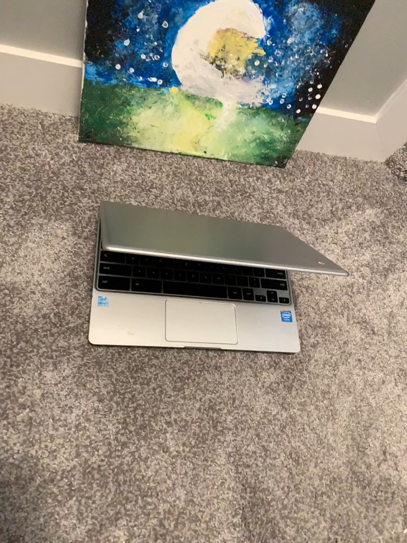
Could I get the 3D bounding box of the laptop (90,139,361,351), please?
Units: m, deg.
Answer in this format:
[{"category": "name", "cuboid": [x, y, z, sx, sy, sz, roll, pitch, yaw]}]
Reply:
[{"category": "laptop", "cuboid": [0.017, -0.018, 0.539, 0.294, 0.144, 0.200, 6, 64, -17]}]
